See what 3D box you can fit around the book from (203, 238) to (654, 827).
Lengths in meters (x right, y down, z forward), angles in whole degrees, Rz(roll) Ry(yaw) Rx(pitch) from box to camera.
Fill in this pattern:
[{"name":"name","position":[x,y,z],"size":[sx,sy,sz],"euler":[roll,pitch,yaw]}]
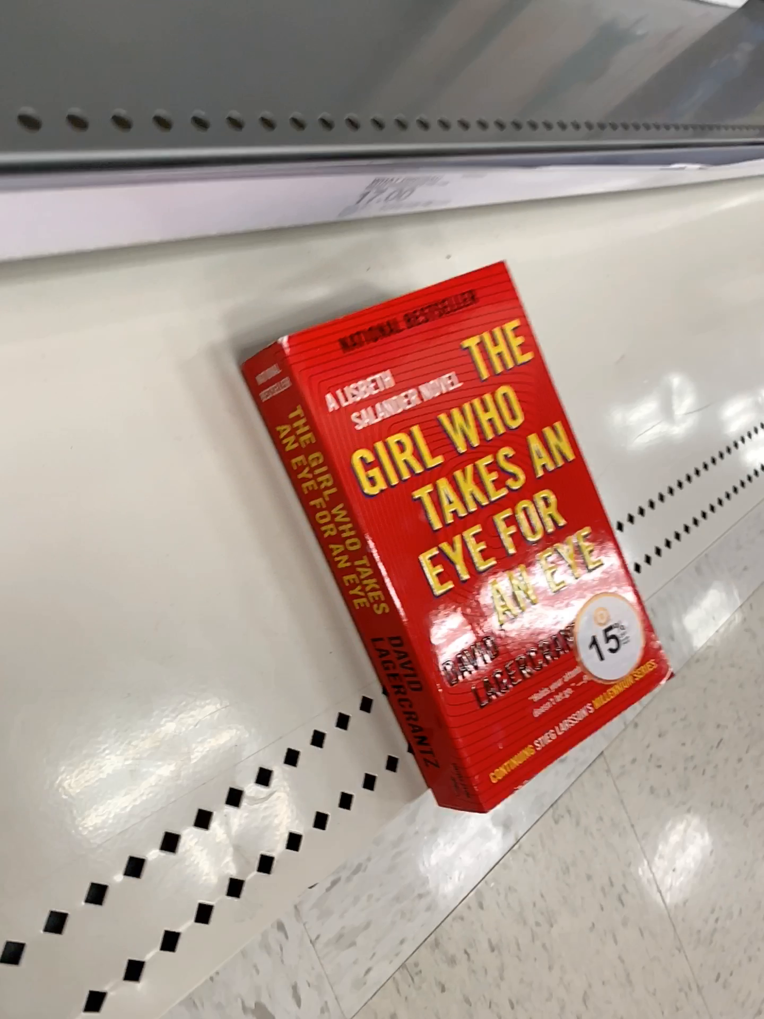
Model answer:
[{"name":"book","position":[0.027,0.003,0.320],"size":[0.115,0.046,0.199],"euler":[-29,98,-41]}]
